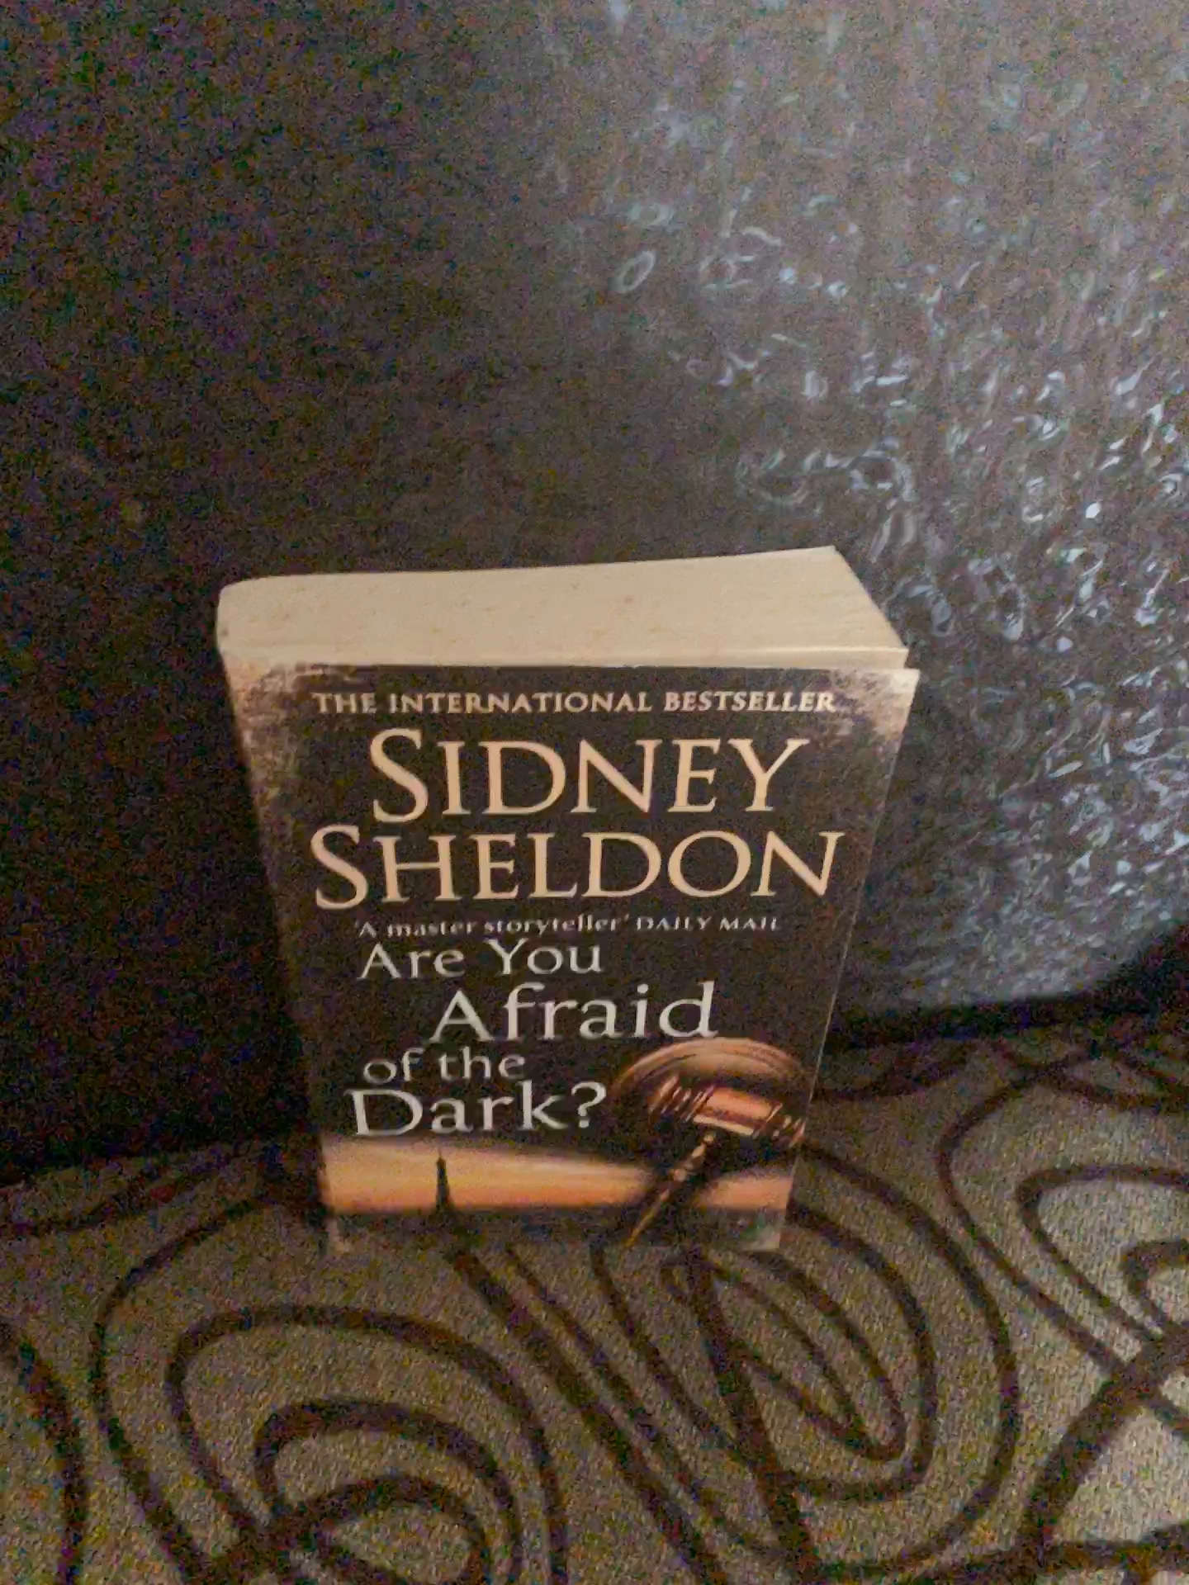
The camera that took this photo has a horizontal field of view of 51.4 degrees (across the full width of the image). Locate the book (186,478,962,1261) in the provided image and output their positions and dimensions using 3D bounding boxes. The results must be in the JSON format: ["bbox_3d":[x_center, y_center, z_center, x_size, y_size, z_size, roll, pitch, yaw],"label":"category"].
[{"bbox_3d":[-0.010,0.028,0.260,0.120,0.179,0.040,0,39,-8],"label":"book"}]
